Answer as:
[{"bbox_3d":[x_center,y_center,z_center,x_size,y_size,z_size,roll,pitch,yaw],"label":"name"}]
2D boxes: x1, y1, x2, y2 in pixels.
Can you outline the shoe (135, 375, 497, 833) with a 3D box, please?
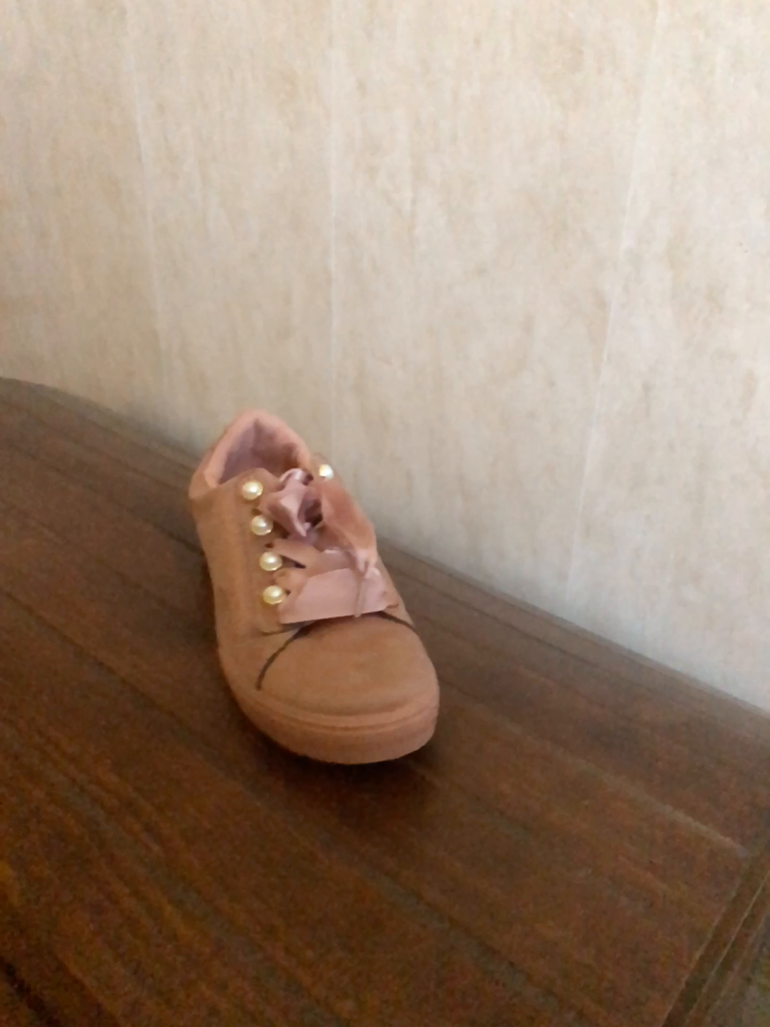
[{"bbox_3d":[-0.057,0.019,0.460,0.110,0.089,0.281,-9,30,-19],"label":"shoe"}]
